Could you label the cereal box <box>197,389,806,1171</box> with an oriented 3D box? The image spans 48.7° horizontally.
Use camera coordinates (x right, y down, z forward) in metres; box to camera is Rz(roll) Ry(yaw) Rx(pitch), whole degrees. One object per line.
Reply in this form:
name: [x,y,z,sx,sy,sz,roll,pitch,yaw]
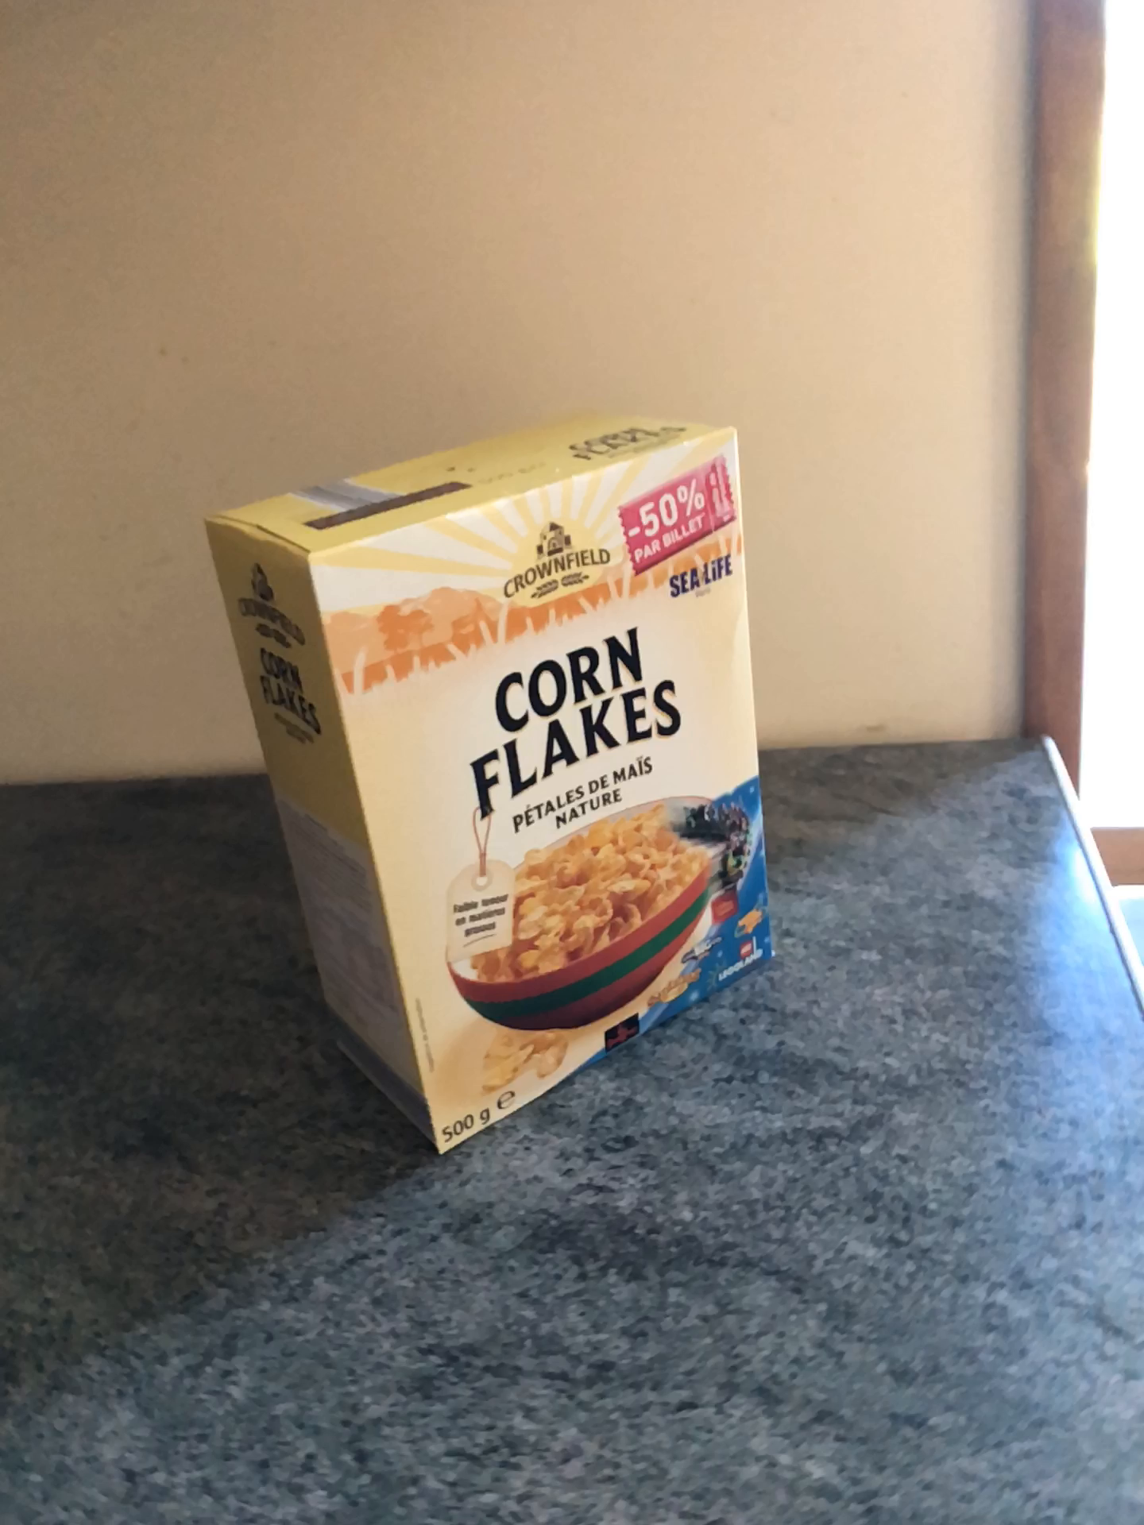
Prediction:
cereal box: [-0.014,-0.003,0.533,0.201,0.259,0.100,-22,29,-30]
